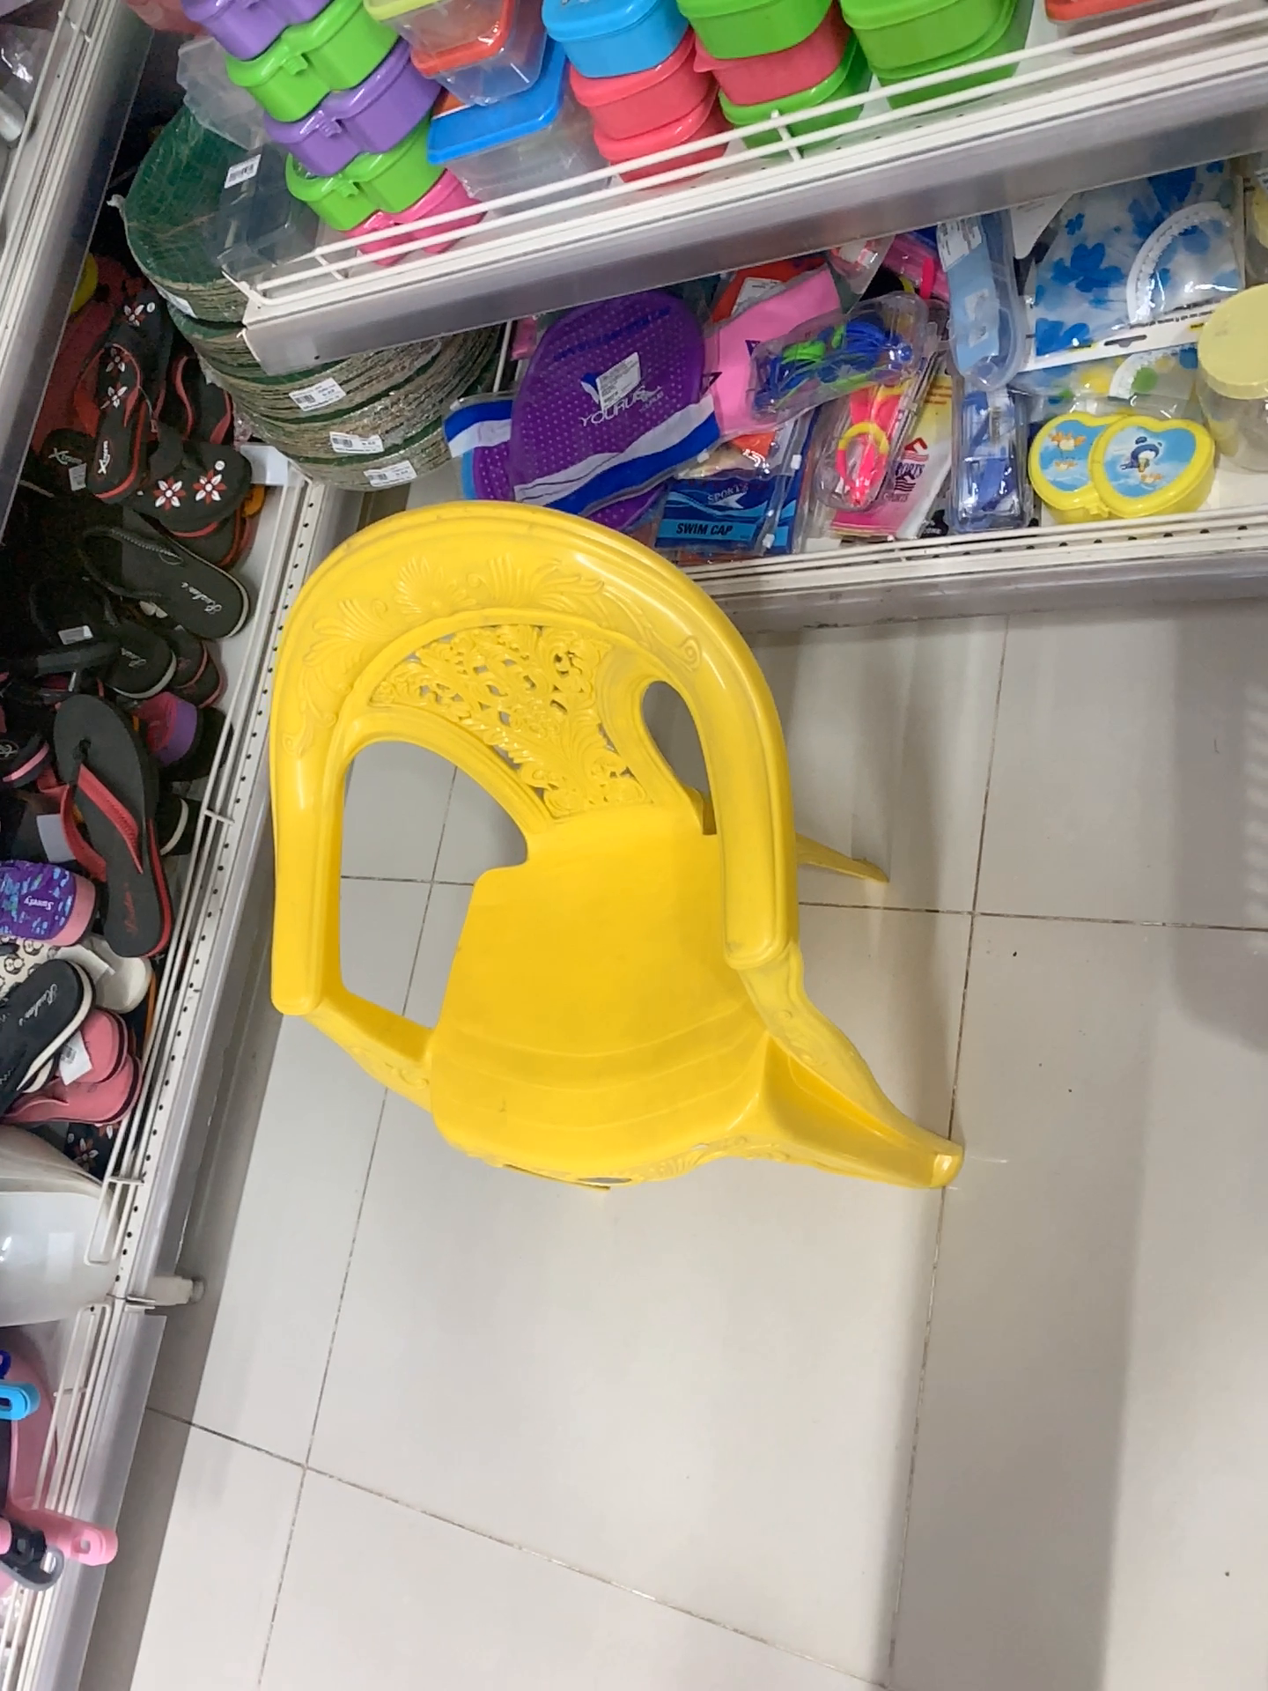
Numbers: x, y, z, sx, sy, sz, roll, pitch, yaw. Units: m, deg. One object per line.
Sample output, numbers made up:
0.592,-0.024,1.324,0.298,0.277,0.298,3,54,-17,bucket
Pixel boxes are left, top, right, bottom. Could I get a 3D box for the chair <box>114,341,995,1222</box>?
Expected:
-0.018,0.024,0.946,0.422,0.448,0.460,-8,69,29,chair
